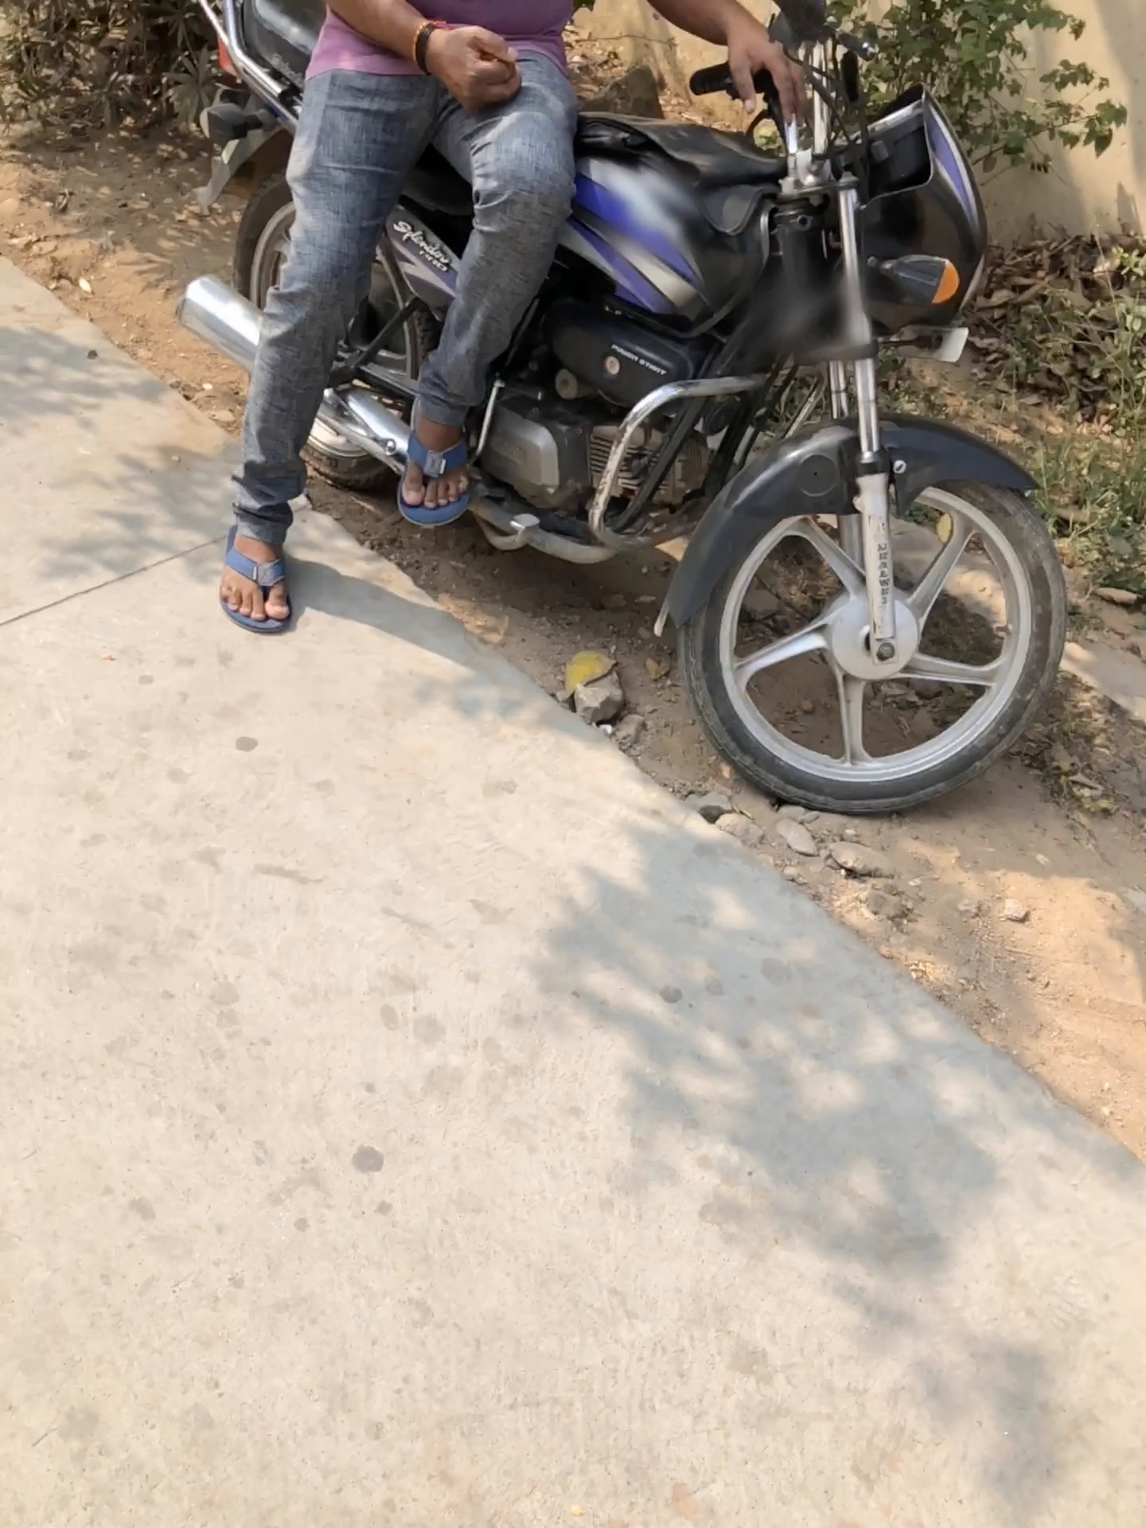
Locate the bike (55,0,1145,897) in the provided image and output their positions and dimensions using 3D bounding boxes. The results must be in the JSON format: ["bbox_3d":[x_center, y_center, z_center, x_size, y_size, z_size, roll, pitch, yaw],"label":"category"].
[{"bbox_3d":[0.112,-0.802,2.165,1.758,1.293,0.775,29,44,23],"label":"bike"}]
